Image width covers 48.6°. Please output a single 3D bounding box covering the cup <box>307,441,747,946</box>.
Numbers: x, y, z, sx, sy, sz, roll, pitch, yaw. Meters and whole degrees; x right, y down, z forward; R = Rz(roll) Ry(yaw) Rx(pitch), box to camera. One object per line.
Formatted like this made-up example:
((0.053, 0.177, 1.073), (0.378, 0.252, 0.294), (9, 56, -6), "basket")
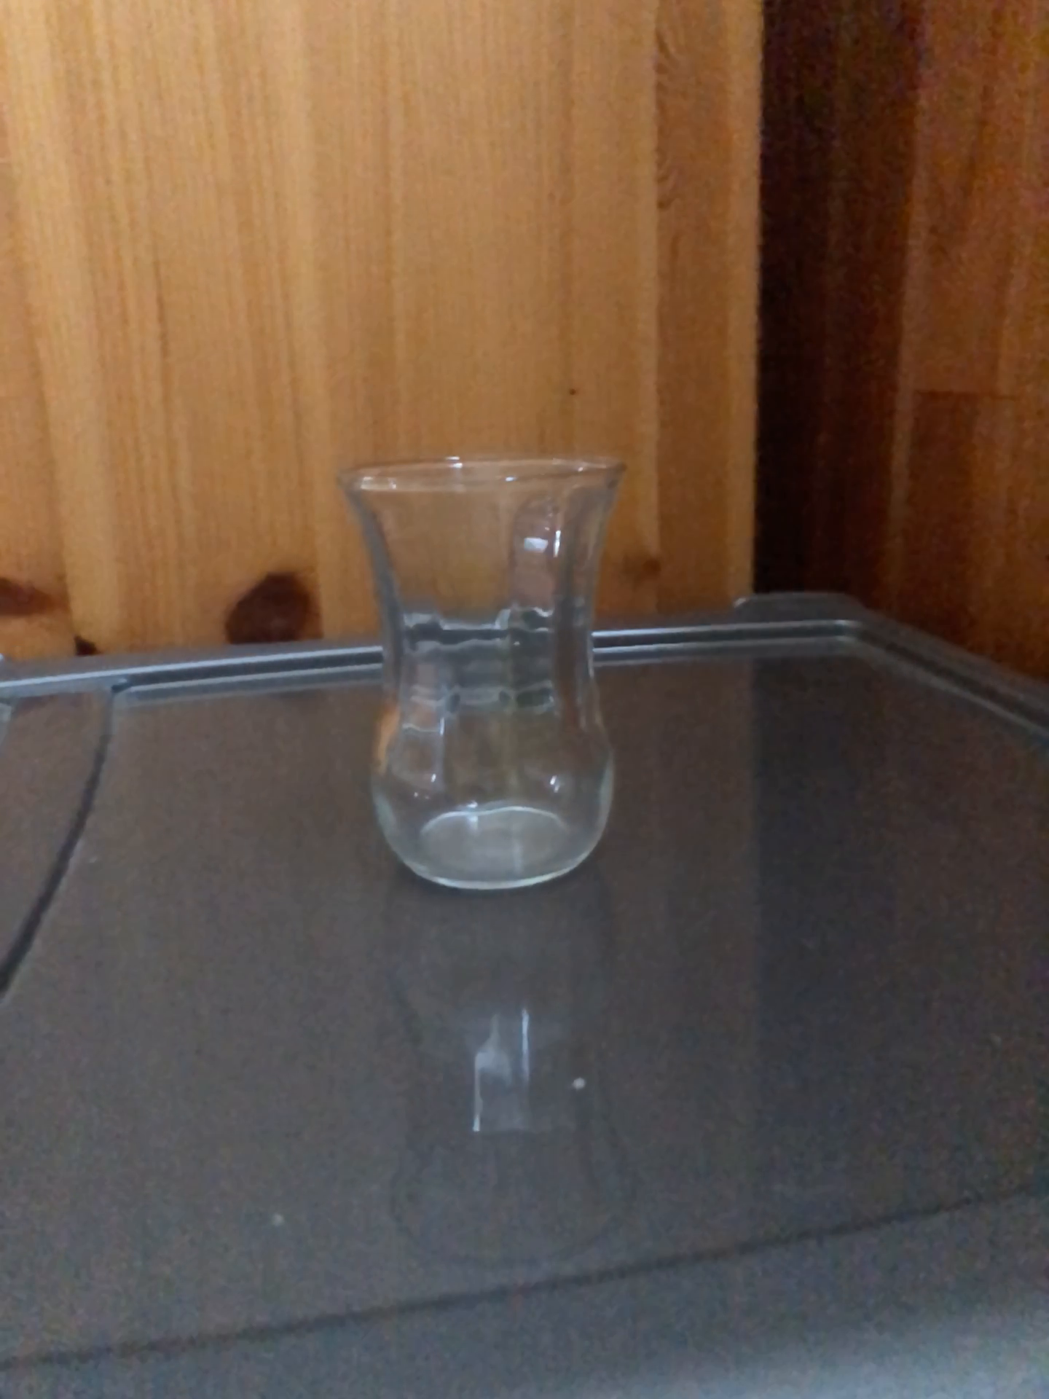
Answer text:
((0.000, -0.008, 0.232), (0.060, 0.080, 0.060), (-1, 16, 0), "cup")
